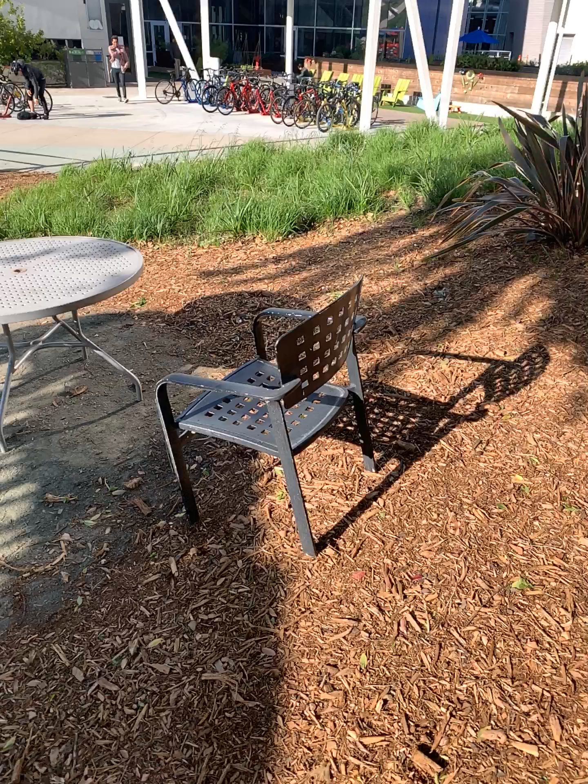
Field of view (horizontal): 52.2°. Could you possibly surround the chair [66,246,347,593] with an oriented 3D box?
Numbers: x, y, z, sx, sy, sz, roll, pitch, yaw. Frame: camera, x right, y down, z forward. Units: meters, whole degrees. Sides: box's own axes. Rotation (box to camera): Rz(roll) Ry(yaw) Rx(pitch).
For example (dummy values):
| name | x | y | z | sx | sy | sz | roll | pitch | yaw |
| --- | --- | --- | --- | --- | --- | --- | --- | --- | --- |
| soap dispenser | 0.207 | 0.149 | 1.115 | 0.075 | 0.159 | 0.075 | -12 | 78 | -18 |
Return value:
| name | x | y | z | sx | sy | sz | roll | pitch | yaw |
| --- | --- | --- | --- | --- | --- | --- | --- | --- | --- |
| chair | -0.221 | 0.044 | 1.727 | 0.501 | 0.716 | 0.522 | 20 | 35 | 27 |
